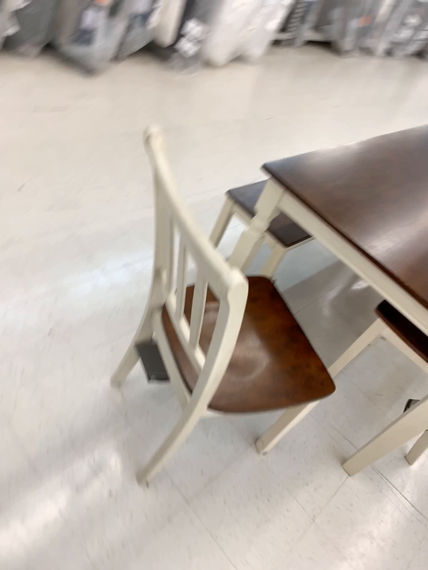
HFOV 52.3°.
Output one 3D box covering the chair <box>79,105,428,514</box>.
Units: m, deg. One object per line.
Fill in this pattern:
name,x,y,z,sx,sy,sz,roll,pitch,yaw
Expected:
chair,0.035,0.108,1.182,0.571,0.906,0.531,-6,51,-30
